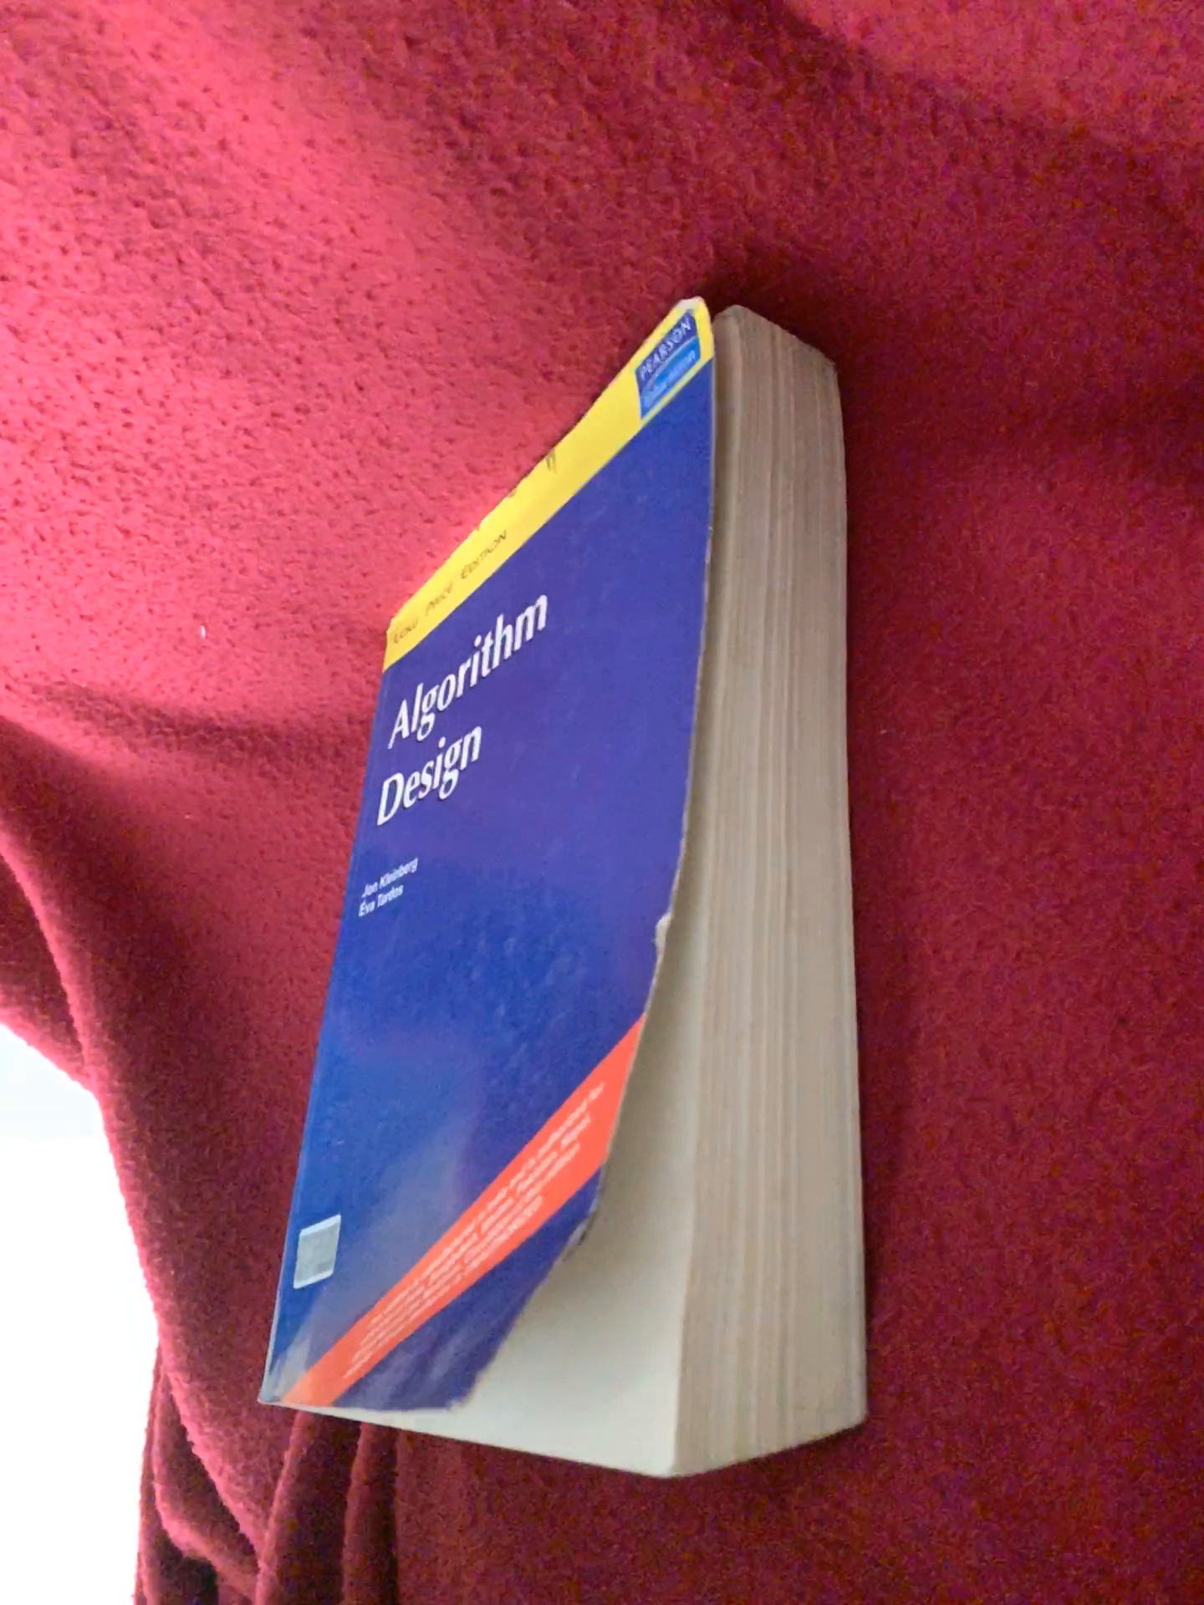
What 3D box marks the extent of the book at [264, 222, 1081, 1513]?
[{"bbox_3d":[0.003,0.022,0.309,0.191,0.060,0.251,-29,50,48],"label":"book"}]
